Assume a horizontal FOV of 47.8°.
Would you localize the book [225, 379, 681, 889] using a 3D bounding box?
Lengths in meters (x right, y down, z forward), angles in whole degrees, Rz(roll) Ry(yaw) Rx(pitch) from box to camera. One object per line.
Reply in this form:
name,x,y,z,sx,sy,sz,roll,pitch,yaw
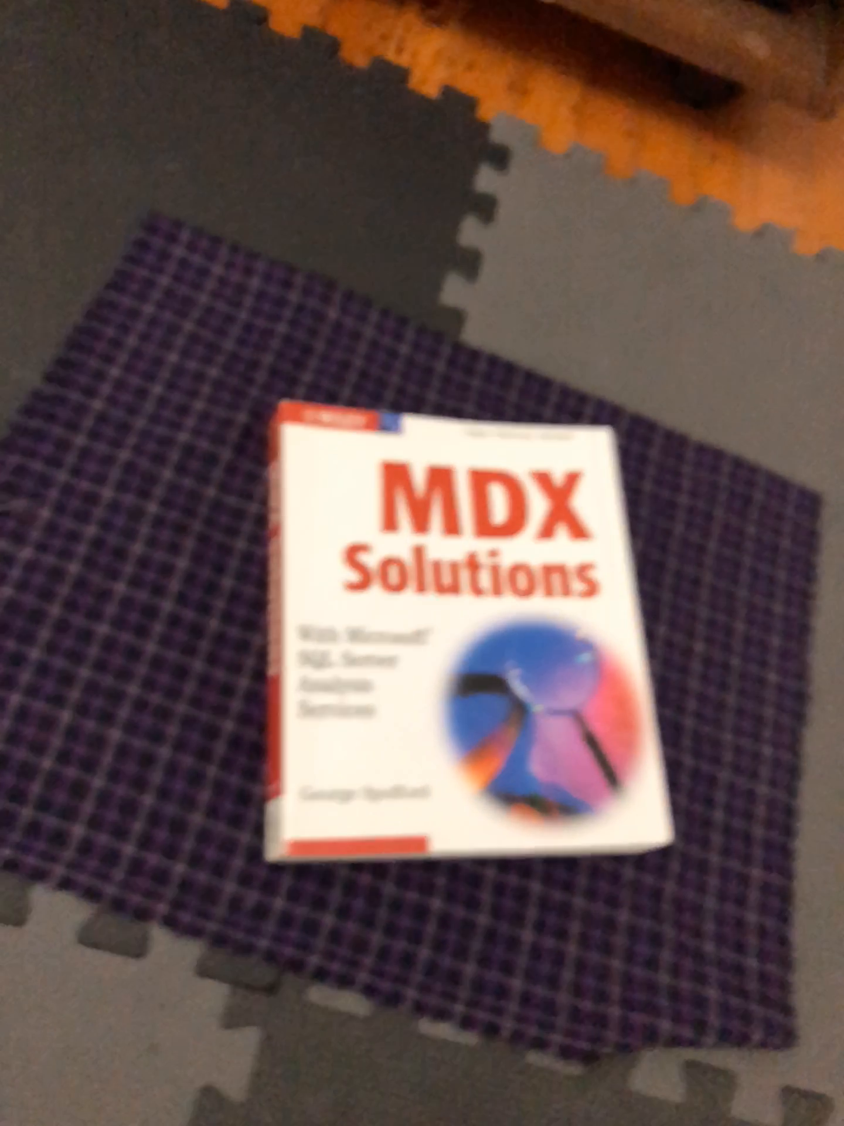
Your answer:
book,0.008,0.034,0.522,0.220,0.050,0.261,3,65,-16
